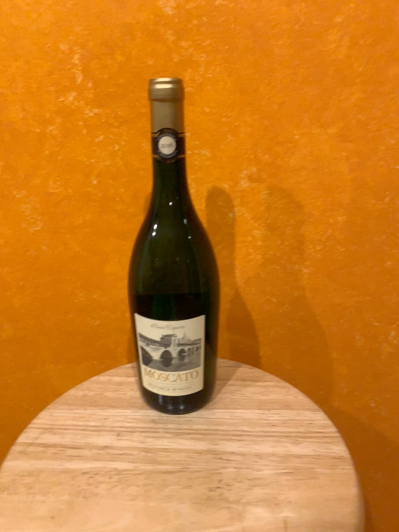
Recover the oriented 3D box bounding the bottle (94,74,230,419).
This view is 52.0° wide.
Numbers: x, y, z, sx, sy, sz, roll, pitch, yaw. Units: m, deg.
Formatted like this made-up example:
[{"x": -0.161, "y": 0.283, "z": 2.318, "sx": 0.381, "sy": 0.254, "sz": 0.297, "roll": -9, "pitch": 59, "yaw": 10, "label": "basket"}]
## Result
[{"x": -0.021, "y": -0.008, "z": 0.362, "sx": 0.090, "sy": 0.289, "sz": 0.070, "roll": 2, "pitch": 22, "yaw": 7, "label": "bottle"}]
